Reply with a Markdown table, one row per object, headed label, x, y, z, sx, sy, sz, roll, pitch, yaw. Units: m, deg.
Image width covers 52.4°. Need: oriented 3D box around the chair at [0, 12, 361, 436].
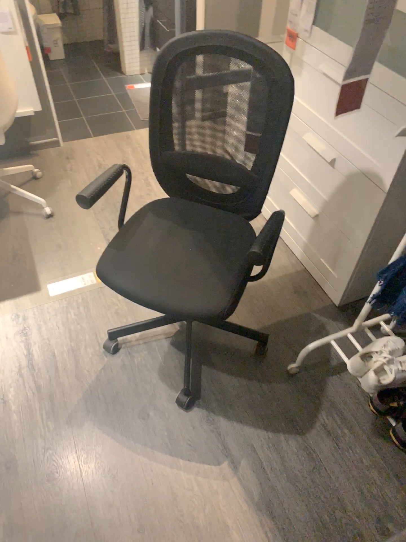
| label | x | y | z | sx | sy | sz | roll | pitch | yaw |
| --- | --- | --- | --- | --- | --- | --- | --- | --- | --- |
| chair | -0.031 | -0.118 | 1.297 | 0.641 | 0.976 | 0.682 | 19 | 49 | 15 |
